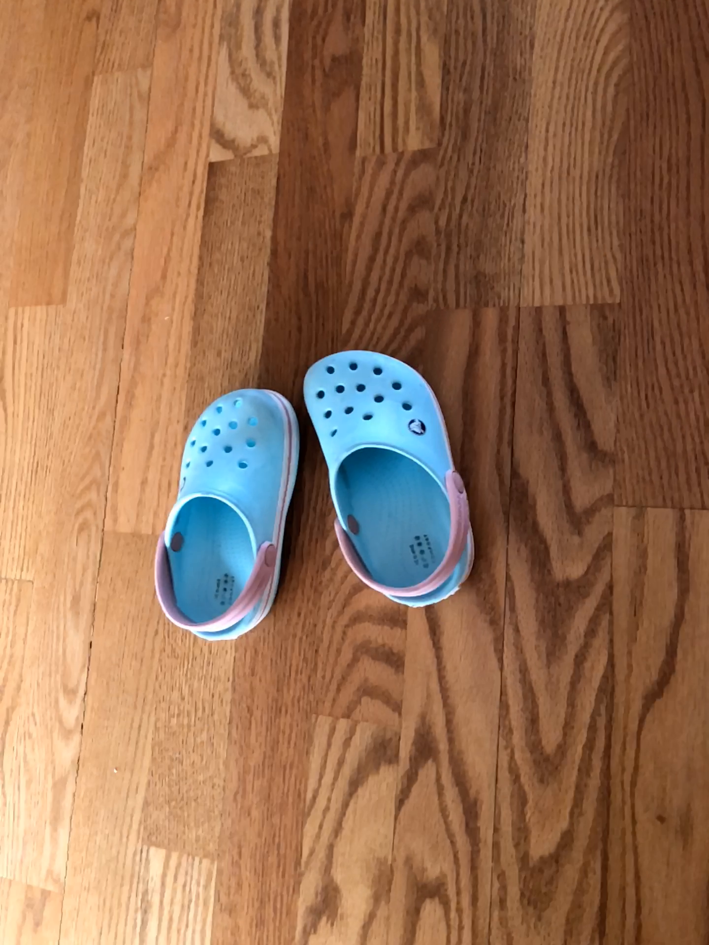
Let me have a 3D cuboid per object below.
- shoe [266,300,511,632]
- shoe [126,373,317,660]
[{"bbox_3d":[0.018,-0.002,0.450,0.083,0.048,0.165,-23,74,17],"label":"shoe"},{"bbox_3d":[-0.081,0.025,0.488,0.083,0.057,0.165,3,83,22],"label":"shoe"}]
